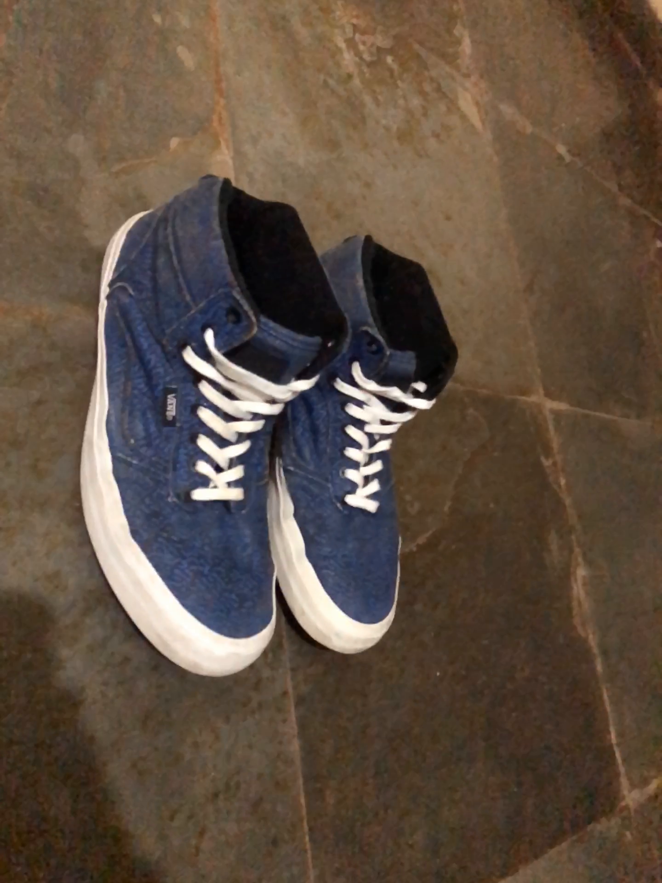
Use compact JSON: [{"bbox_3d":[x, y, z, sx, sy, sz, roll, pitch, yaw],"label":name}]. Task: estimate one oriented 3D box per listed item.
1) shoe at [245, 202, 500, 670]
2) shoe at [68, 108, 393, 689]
[{"bbox_3d":[0.023,0.002,0.494,0.121,0.089,0.280,11,68,-43],"label":"shoe"},{"bbox_3d":[-0.064,-0.016,0.415,0.121,0.109,0.280,7,70,-44],"label":"shoe"}]
